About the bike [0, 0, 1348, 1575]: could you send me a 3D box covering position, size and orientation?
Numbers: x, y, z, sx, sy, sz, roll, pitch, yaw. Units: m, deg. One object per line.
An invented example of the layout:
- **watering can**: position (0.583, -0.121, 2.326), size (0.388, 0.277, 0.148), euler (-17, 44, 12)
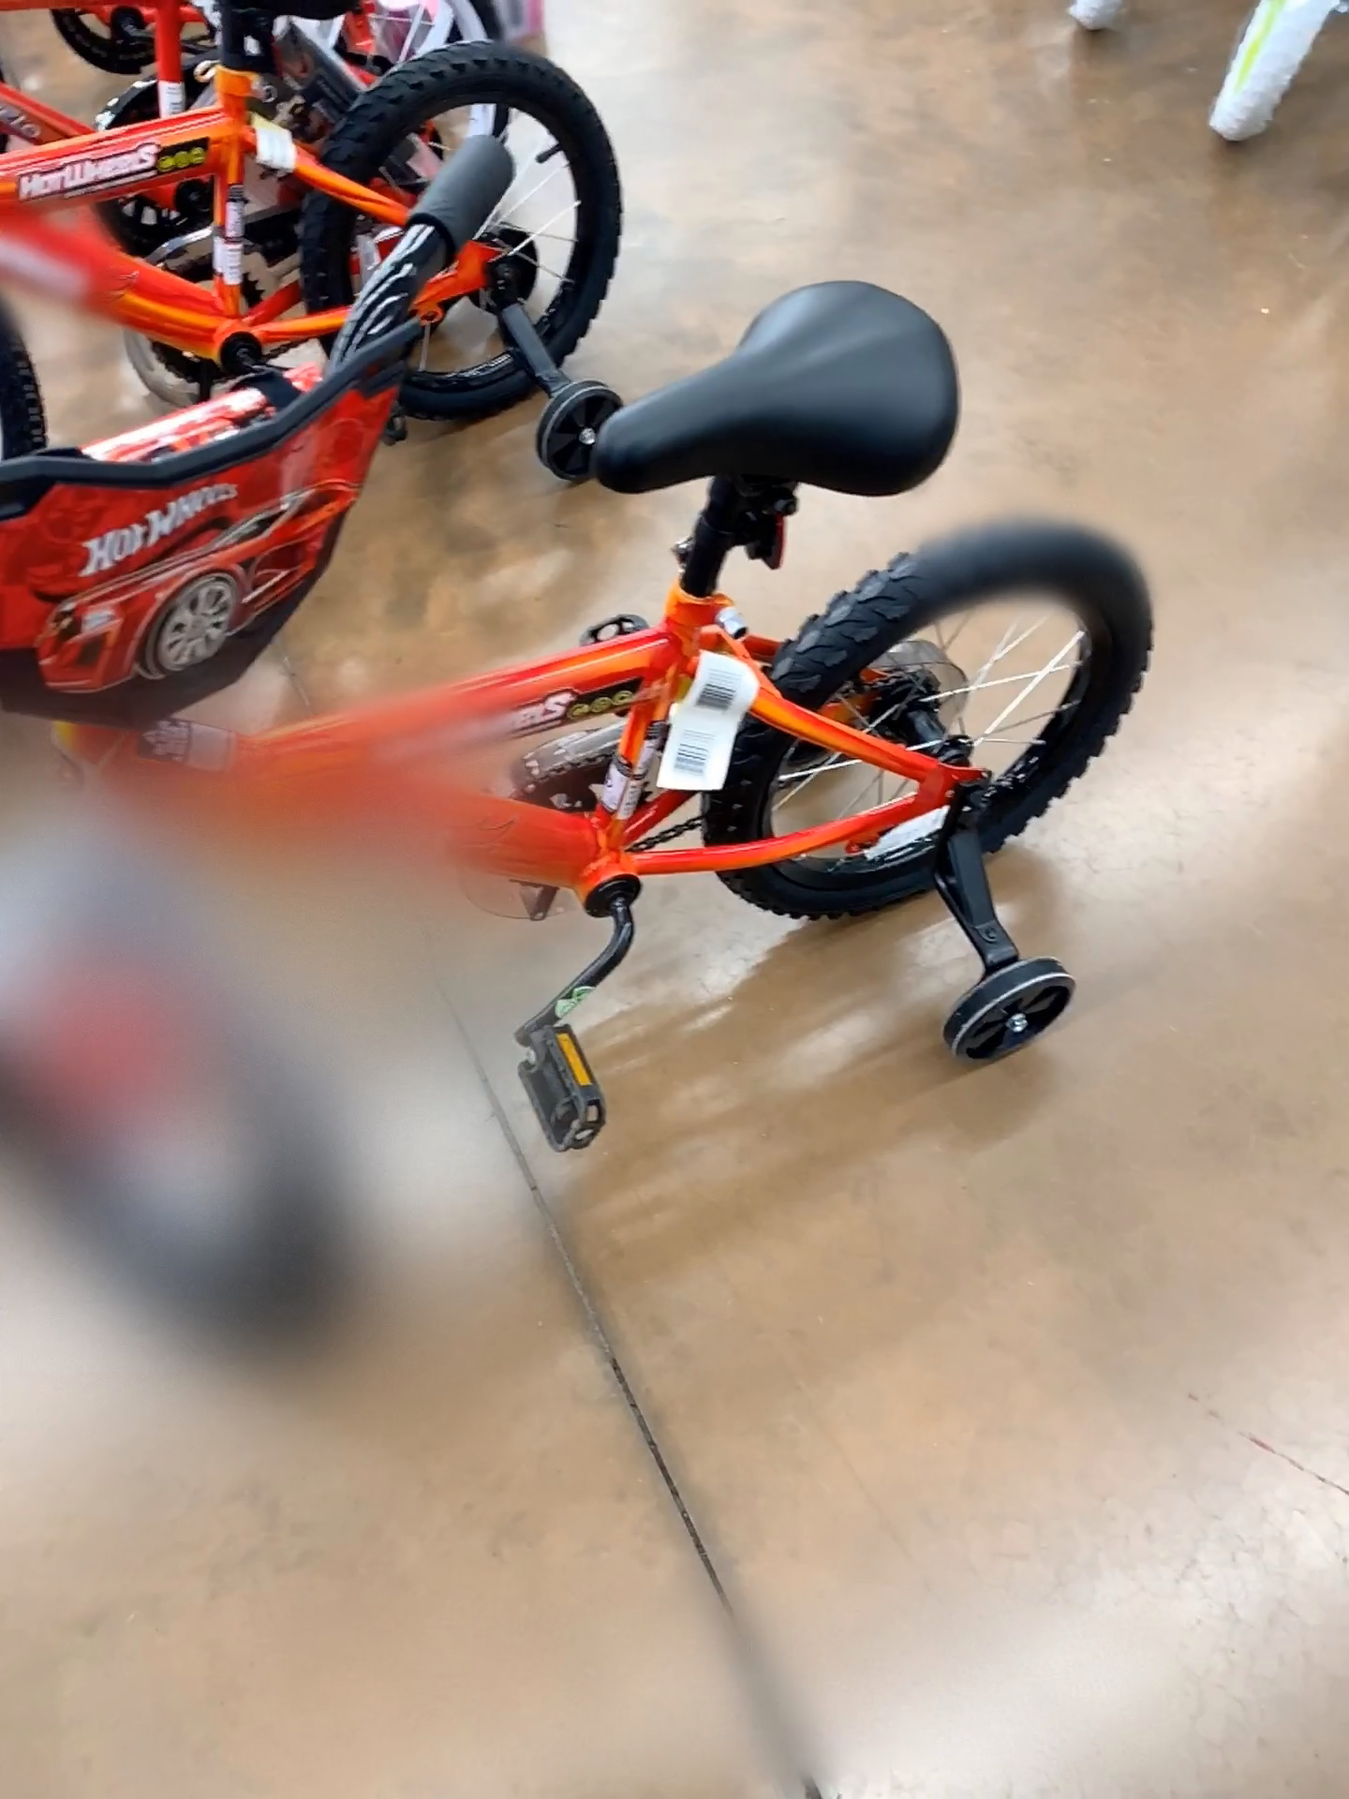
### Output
- **bike**: position (-0.008, -0.103, 0.945), size (0.740, 0.824, 0.511), euler (-36, 60, -12)
